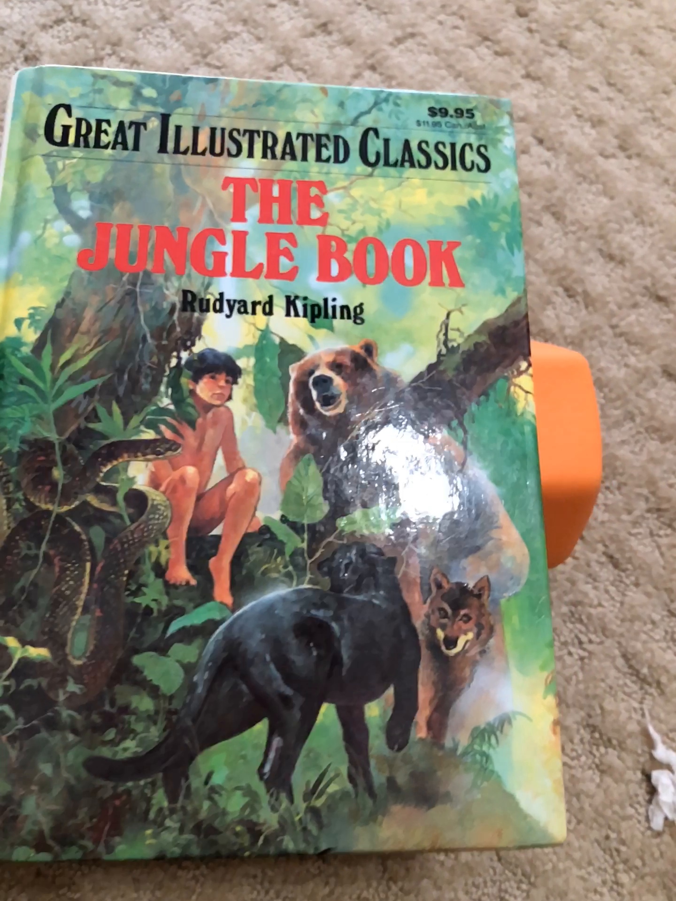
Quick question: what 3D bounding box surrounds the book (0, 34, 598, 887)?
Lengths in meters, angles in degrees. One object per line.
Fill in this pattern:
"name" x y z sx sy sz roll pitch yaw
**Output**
"book" -0.014 -0.008 0.201 0.140 0.029 0.208 1 75 -6
